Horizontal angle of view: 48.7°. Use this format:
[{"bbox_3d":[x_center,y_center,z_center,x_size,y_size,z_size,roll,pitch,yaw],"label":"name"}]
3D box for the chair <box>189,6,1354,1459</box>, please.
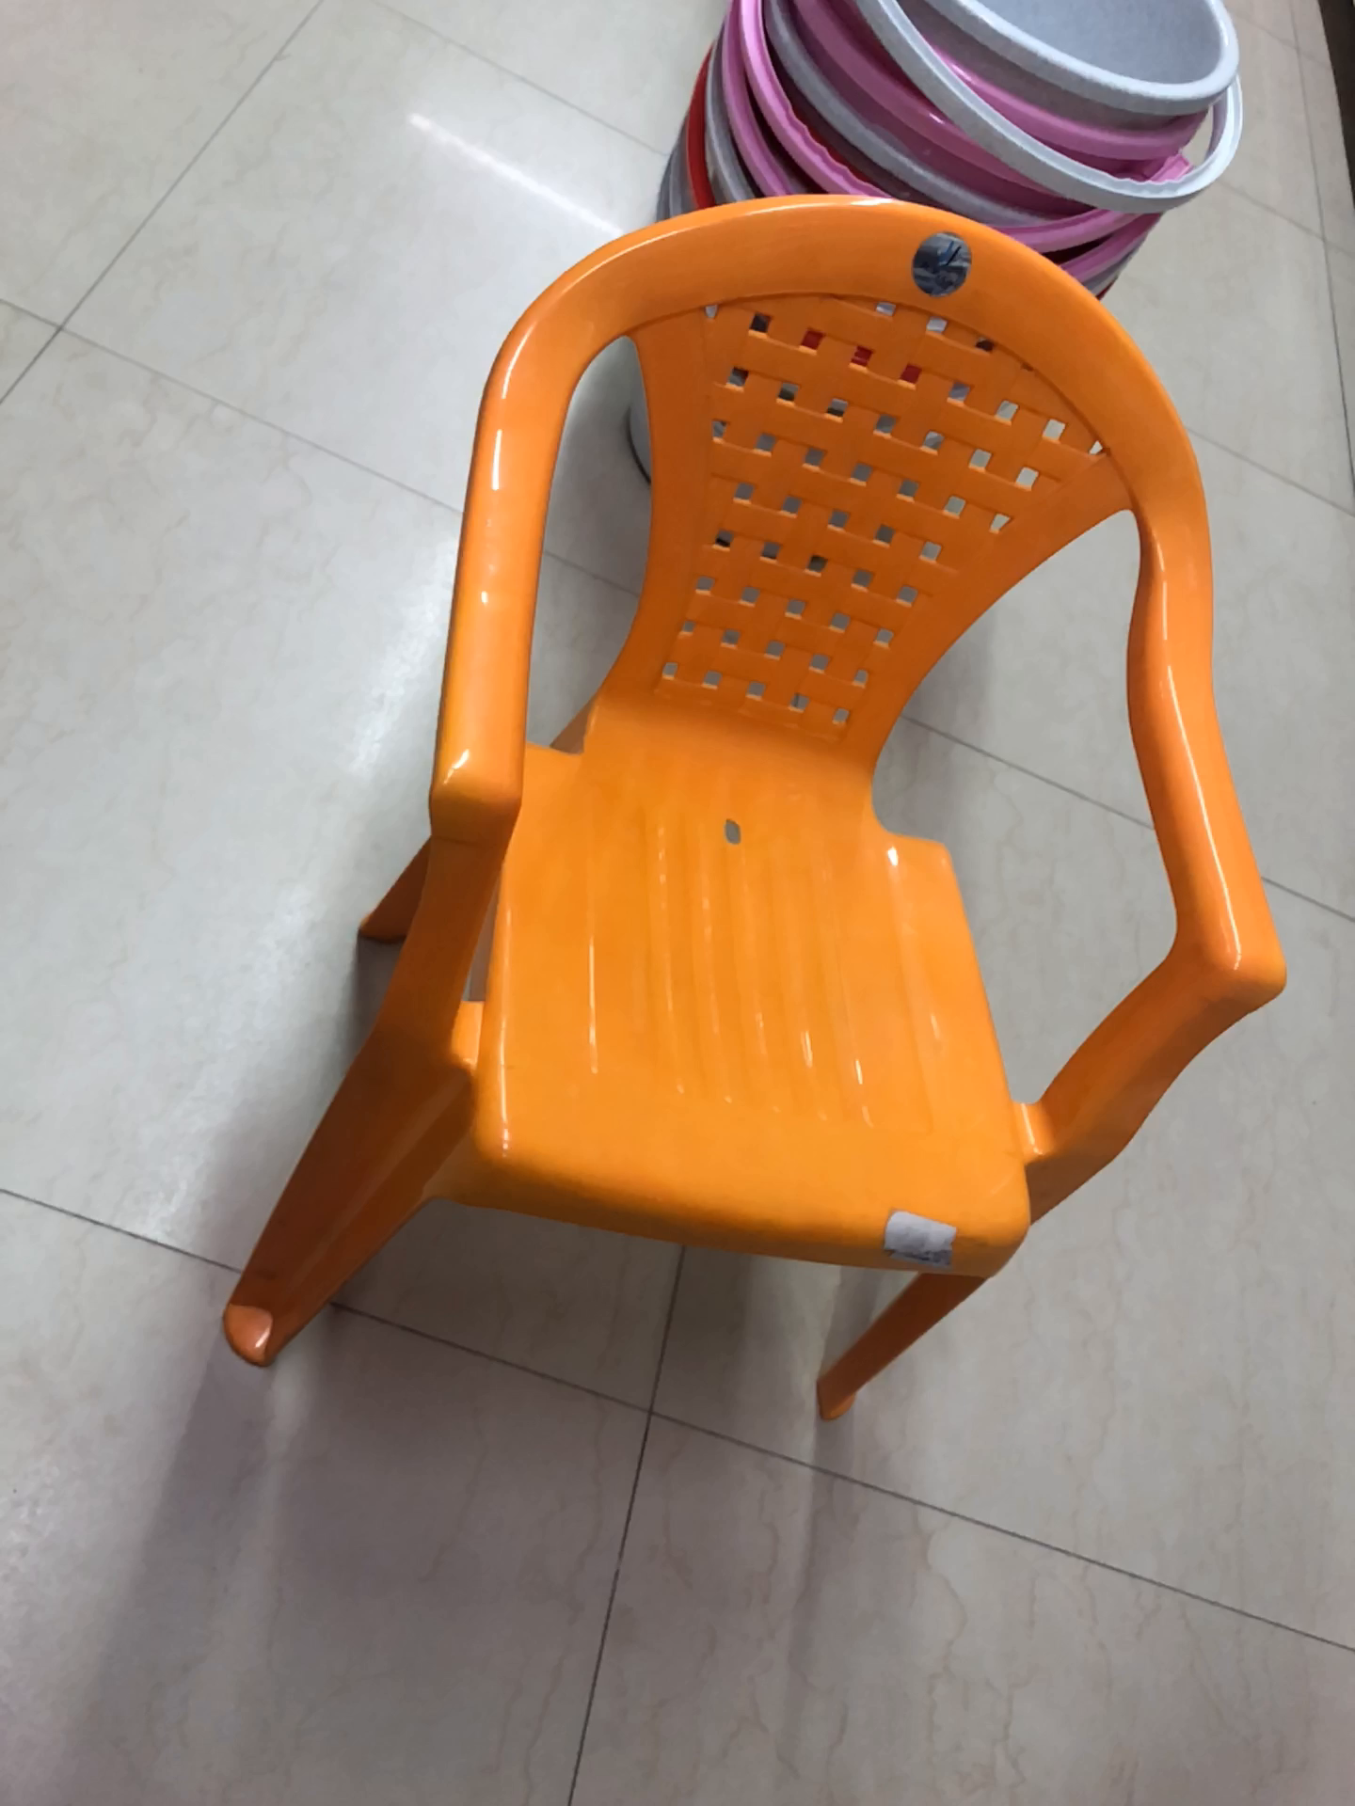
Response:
[{"bbox_3d":[0.037,-0.017,0.704,0.390,0.468,0.402,13,55,-18],"label":"chair"}]
